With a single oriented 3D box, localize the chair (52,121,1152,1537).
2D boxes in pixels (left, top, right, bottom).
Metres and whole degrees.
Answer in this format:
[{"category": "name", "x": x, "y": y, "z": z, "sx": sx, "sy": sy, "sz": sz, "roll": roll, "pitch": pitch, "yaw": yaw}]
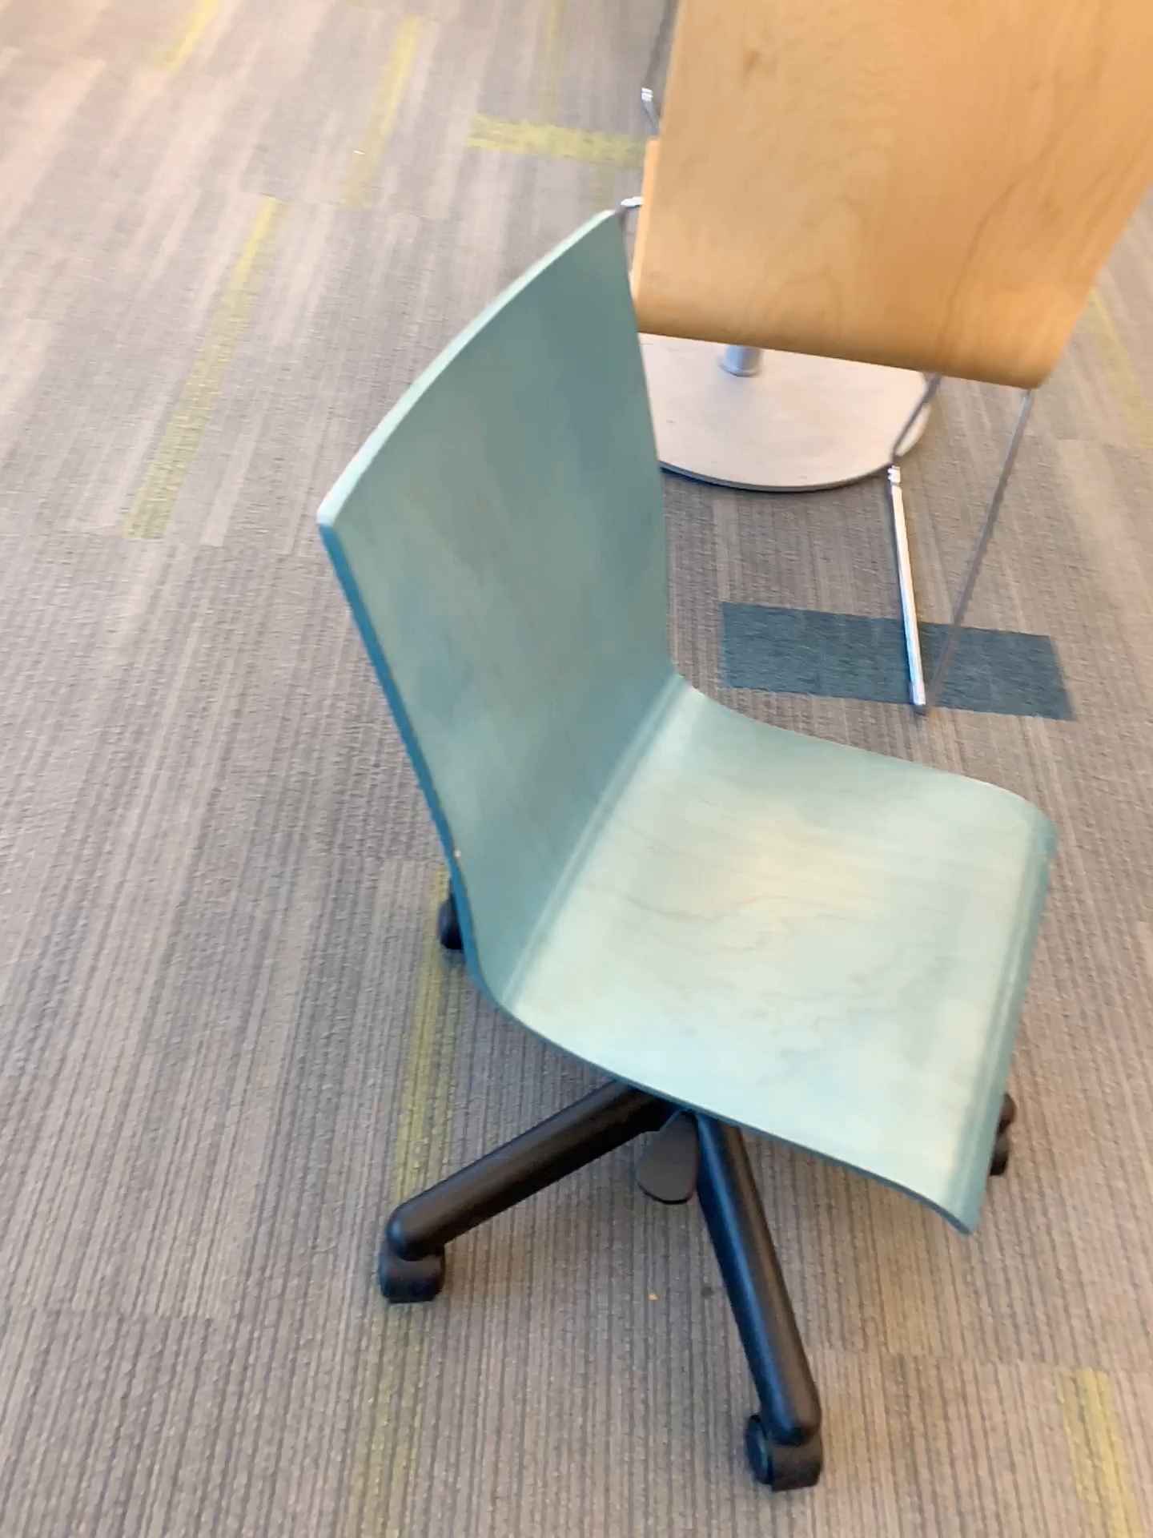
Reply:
[{"category": "chair", "x": 0.162, "y": 0.084, "z": 0.826, "sx": 0.610, "sy": 0.668, "sz": 0.602, "roll": 21, "pitch": 51, "yaw": 9}]
